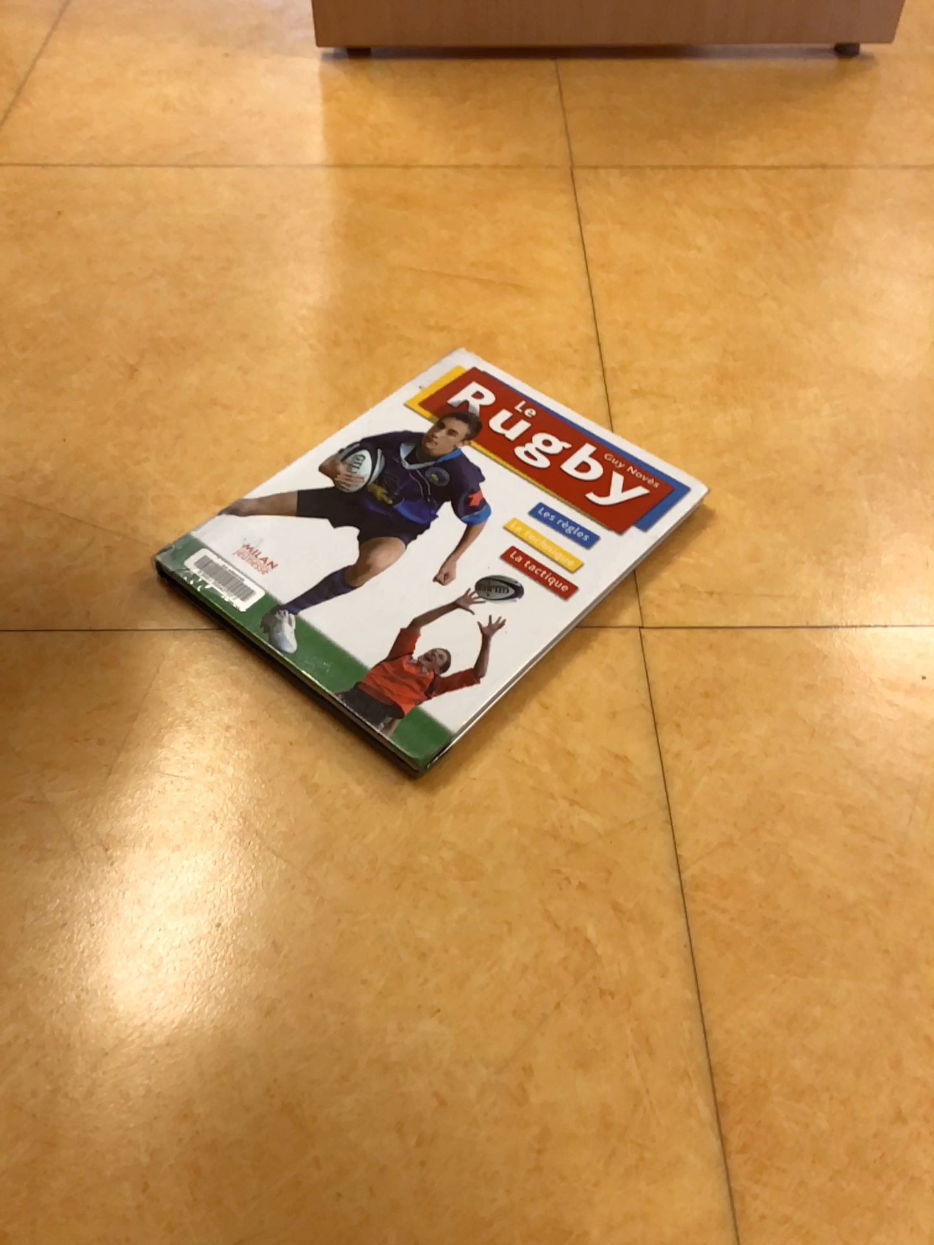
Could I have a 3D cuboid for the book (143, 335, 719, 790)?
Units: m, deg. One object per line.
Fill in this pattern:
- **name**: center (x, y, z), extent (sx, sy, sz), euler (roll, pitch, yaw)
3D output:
- **book**: center (-0.014, -0.055, 0.589), extent (0.203, 0.024, 0.261), euler (35, 58, 24)
